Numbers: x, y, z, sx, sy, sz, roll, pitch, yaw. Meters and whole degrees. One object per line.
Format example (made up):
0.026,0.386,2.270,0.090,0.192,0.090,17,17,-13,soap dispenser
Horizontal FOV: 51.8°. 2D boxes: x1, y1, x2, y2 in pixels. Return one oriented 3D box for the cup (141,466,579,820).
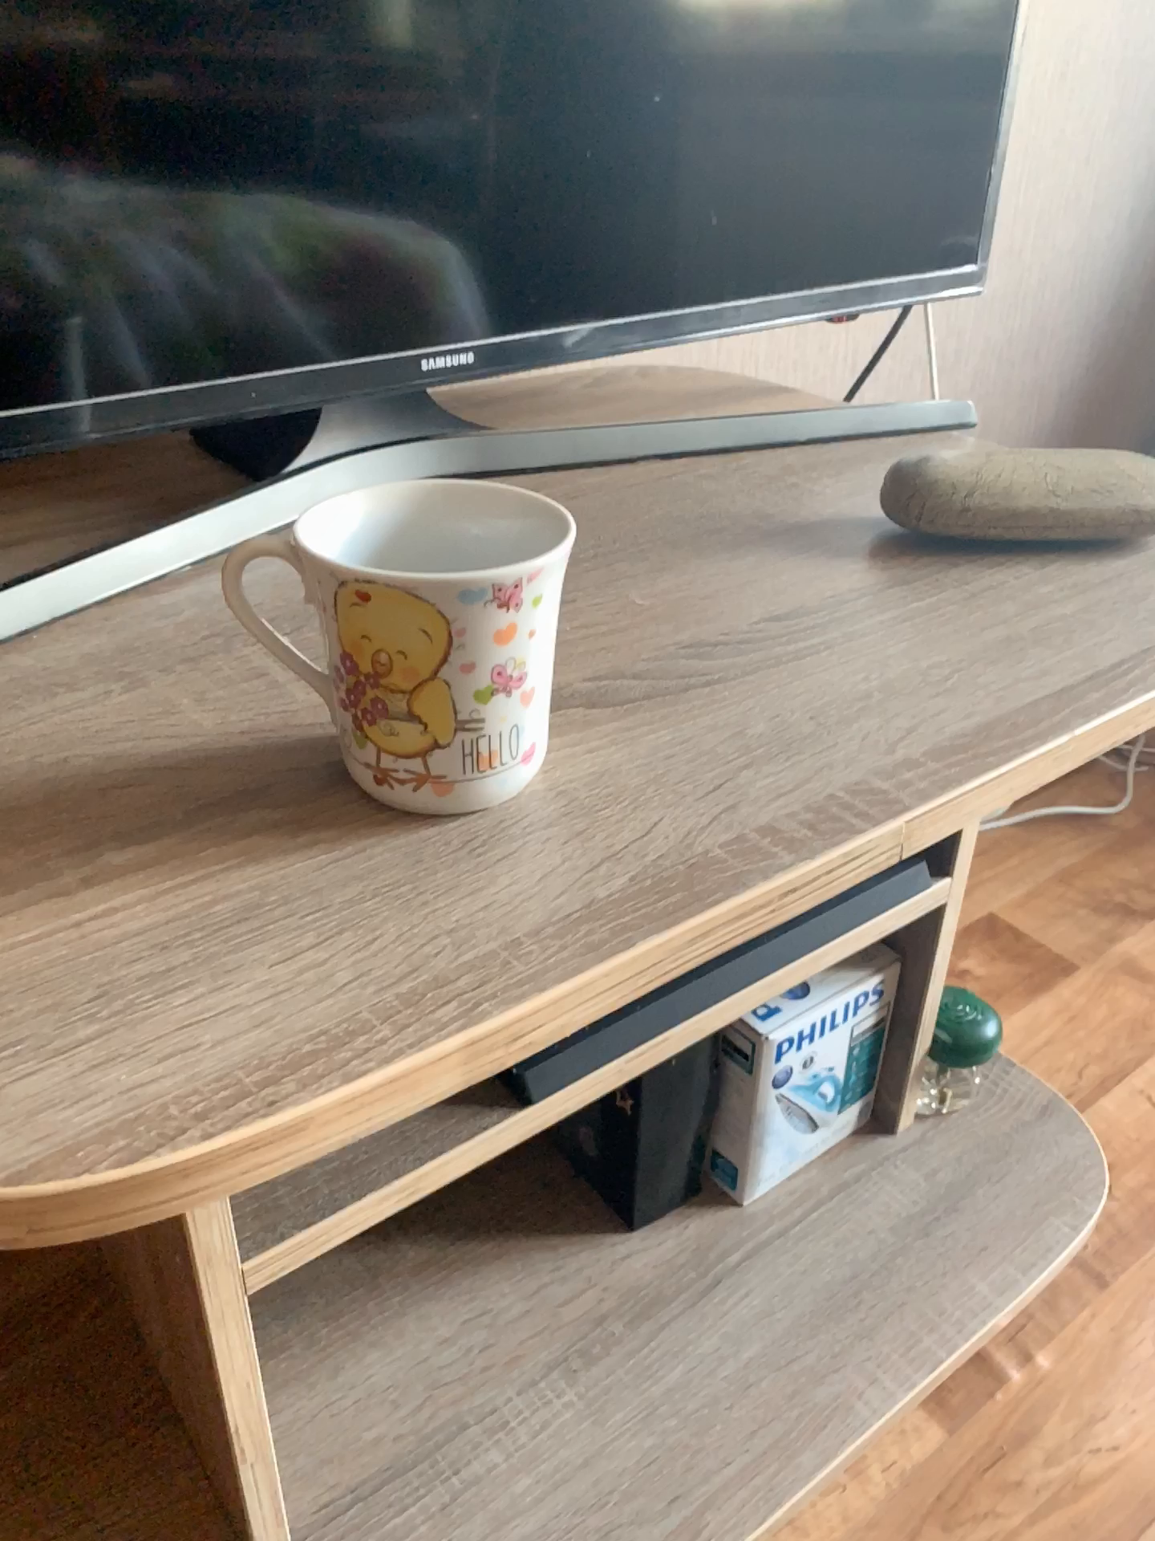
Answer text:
-0.056,-0.039,0.352,0.110,0.080,0.070,1,30,0,cup
